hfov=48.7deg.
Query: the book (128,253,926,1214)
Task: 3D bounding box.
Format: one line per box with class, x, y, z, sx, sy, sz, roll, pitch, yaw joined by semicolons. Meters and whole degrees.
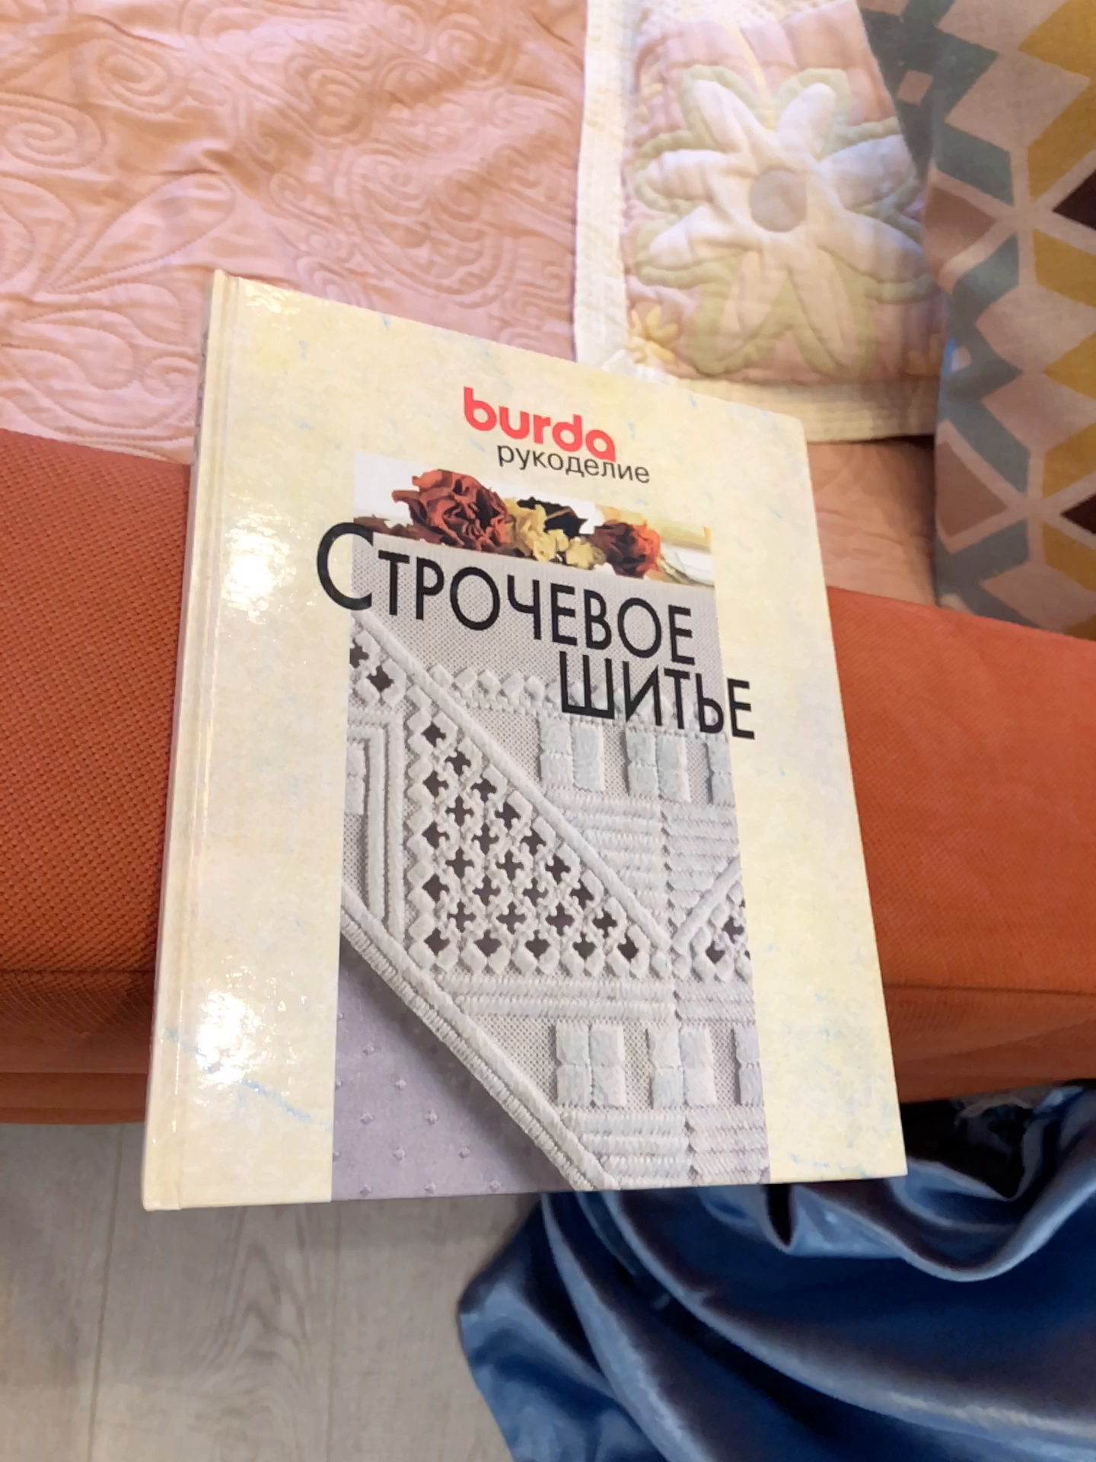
book;0.002;-0.002;0.357;0.216;0.020;0.258;7;68;-23
